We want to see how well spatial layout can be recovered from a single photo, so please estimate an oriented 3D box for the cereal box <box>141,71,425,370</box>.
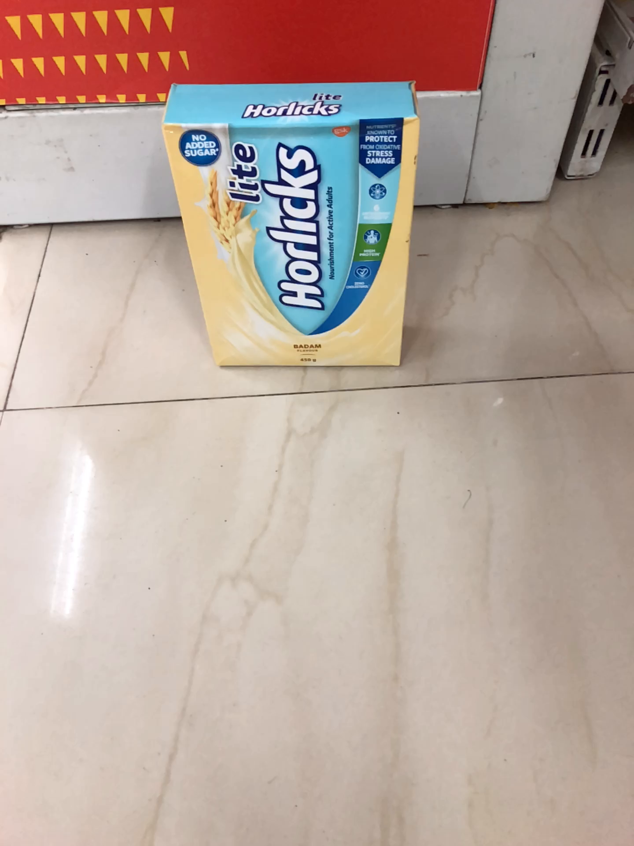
[{"bbox_3d":[-0.017,-0.121,0.456,0.150,0.189,0.050,1,49,1],"label":"cereal box"}]
